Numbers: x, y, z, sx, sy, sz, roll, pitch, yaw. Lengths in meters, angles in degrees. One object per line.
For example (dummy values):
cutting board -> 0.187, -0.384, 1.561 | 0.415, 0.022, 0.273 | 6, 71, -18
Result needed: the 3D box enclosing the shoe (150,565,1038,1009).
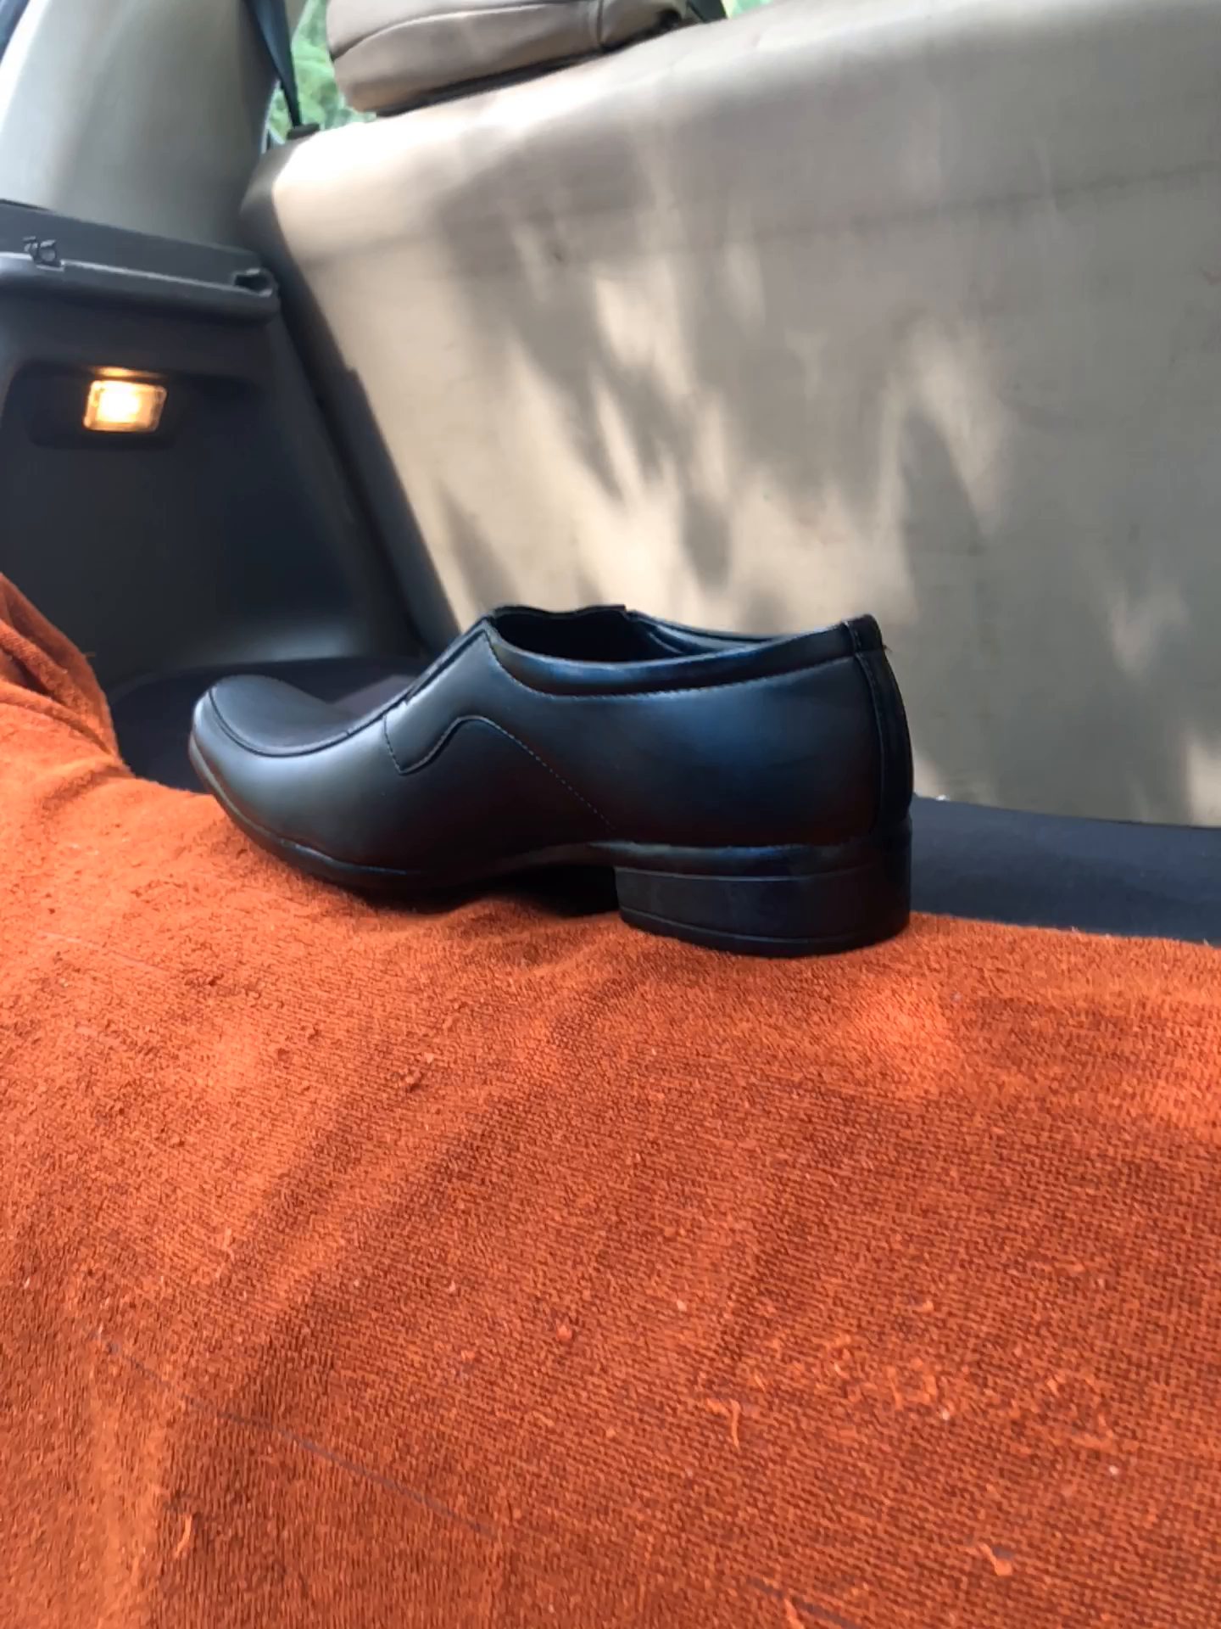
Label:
shoe -> -0.020, -0.034, 0.493 | 0.161, 0.100, 0.290 | -14, 18, -43
